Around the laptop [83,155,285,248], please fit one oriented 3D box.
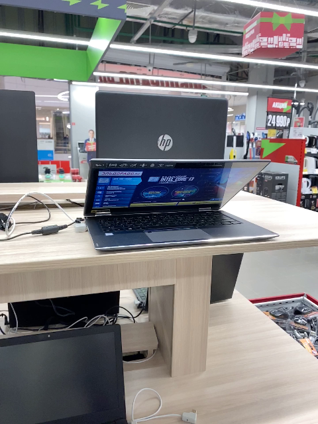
[{"bbox_3d":[0.028,-0.037,0.623,0.320,0.128,0.217,-2,12,-17],"label":"laptop"}]
